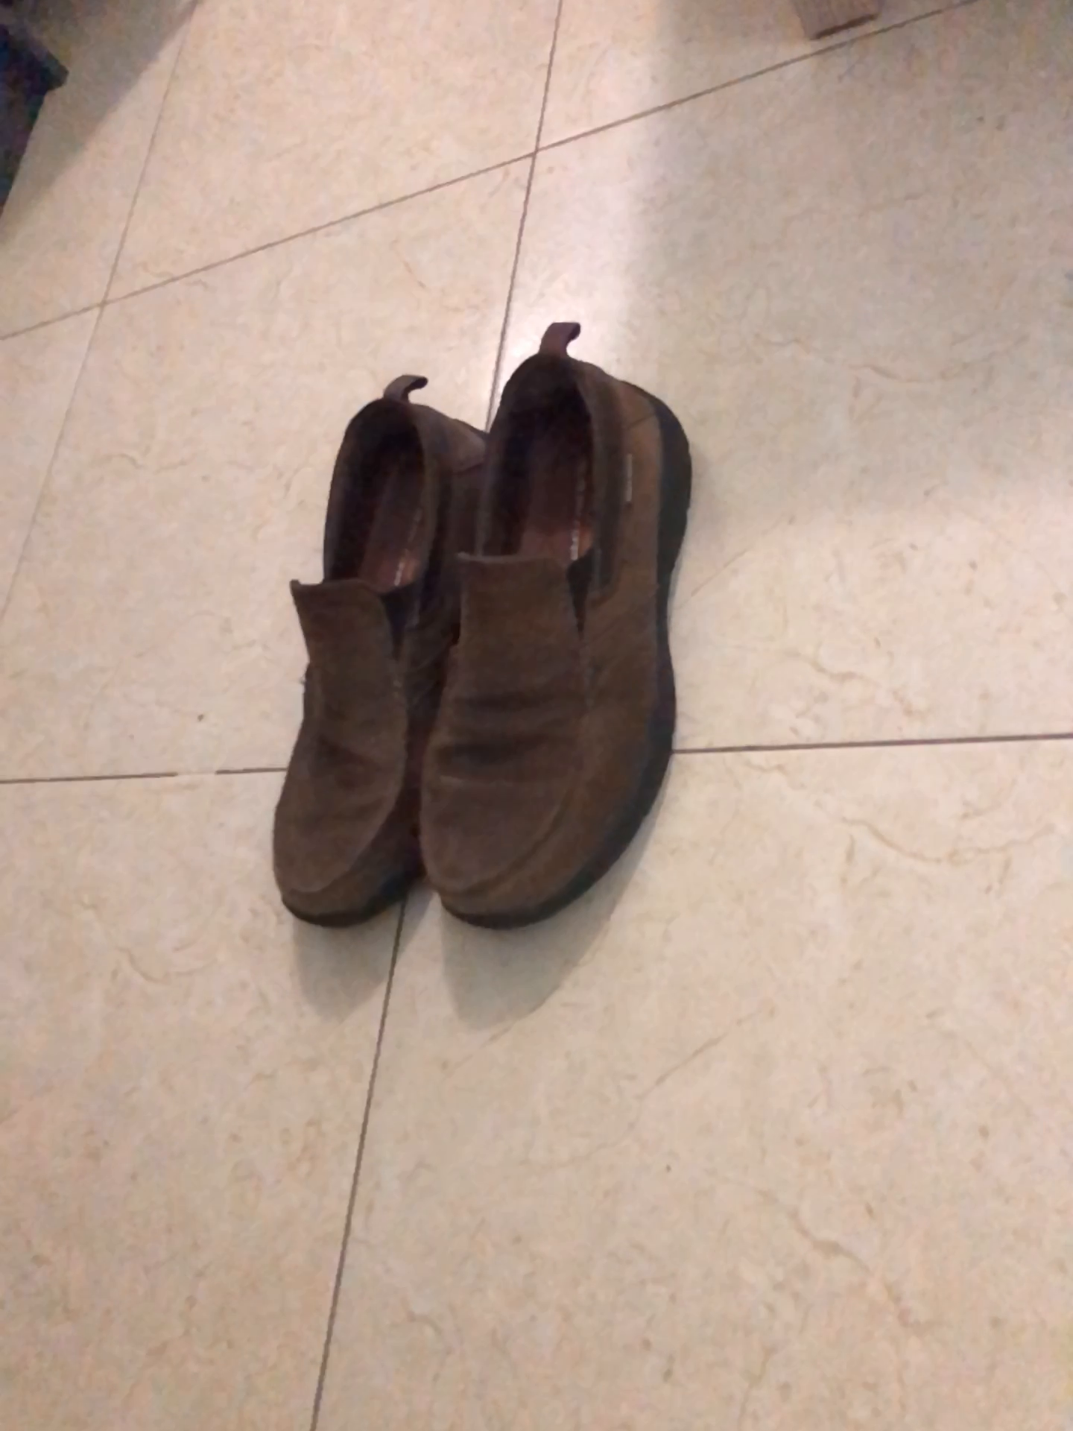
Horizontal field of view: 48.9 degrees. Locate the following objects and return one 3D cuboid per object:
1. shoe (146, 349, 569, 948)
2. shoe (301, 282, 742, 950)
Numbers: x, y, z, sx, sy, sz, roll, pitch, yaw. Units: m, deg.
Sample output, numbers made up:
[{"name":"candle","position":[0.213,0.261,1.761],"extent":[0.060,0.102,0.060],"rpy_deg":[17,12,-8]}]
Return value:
[{"name":"shoe","position":[-0.091,-0.039,0.655],"extent":[0.120,0.100,0.300],"rpy_deg":[3,70,33]},{"name":"shoe","position":[0.002,-0.049,0.591],"extent":[0.130,0.100,0.300],"rpy_deg":[1,69,32]}]
